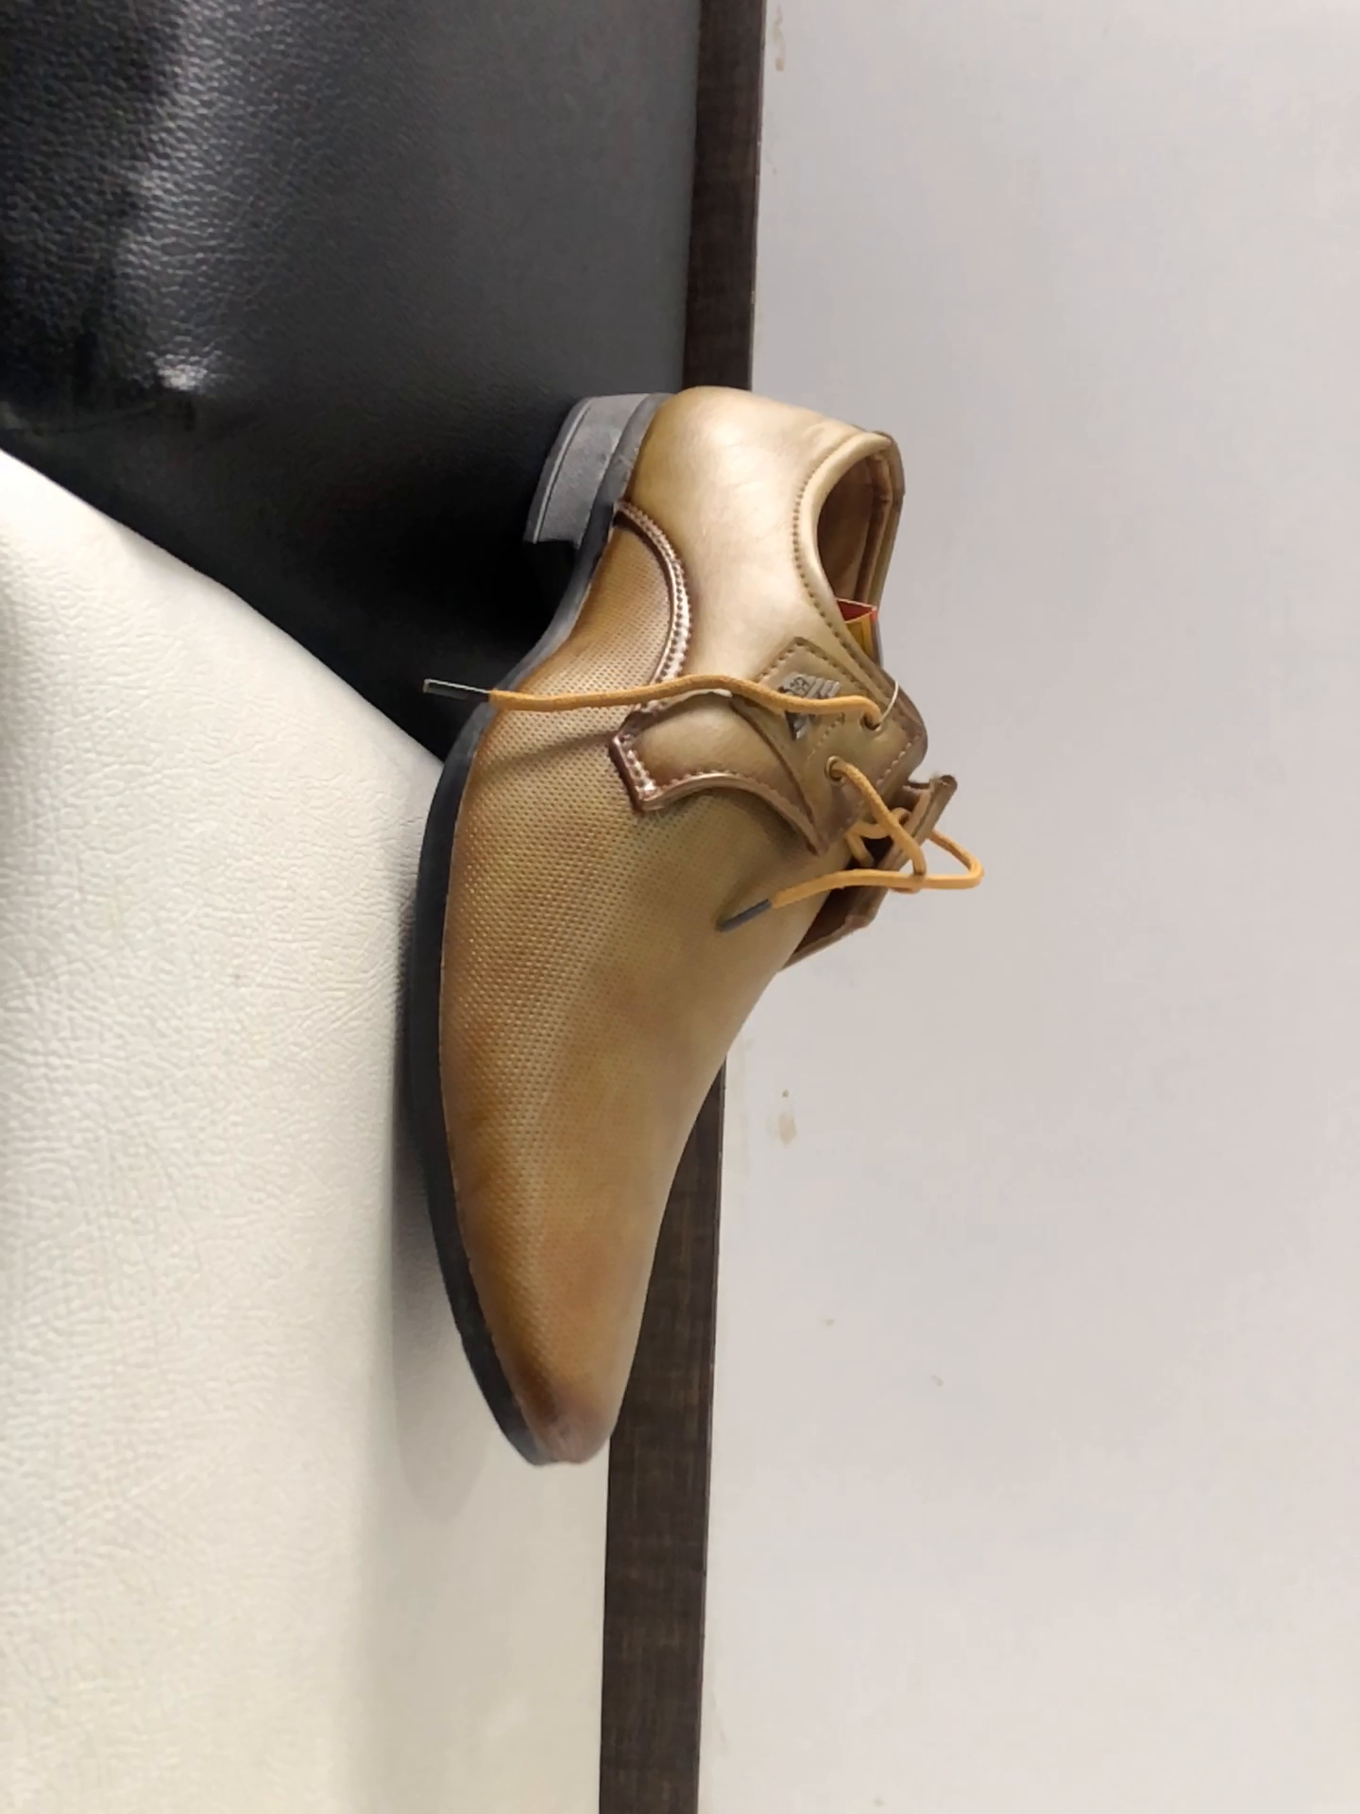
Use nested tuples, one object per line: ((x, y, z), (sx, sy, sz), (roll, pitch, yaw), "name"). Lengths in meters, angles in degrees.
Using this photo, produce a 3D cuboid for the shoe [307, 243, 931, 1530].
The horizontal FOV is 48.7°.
((0.006, -0.015, 0.362), (0.100, 0.090, 0.290), (66, 27, -58), "shoe")
